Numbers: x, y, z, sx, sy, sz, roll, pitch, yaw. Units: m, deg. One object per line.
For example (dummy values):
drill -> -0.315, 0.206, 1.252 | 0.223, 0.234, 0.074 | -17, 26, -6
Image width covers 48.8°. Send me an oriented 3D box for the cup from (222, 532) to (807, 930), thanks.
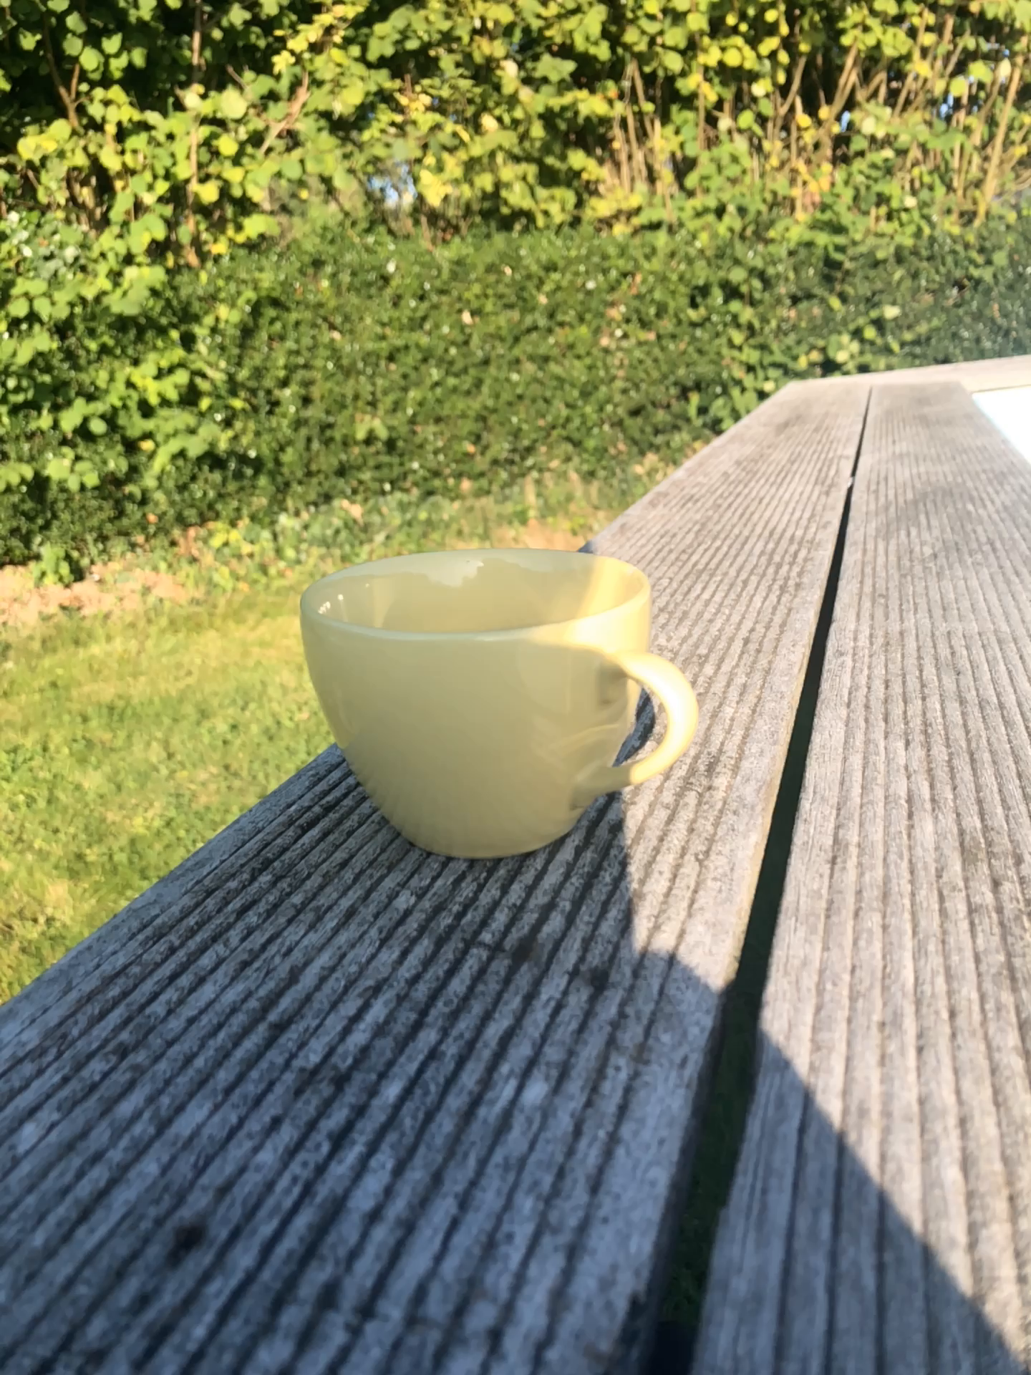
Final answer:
cup -> -0.002, 0.000, 0.282 | 0.089, 0.053, 0.112 | -19, 24, -40
